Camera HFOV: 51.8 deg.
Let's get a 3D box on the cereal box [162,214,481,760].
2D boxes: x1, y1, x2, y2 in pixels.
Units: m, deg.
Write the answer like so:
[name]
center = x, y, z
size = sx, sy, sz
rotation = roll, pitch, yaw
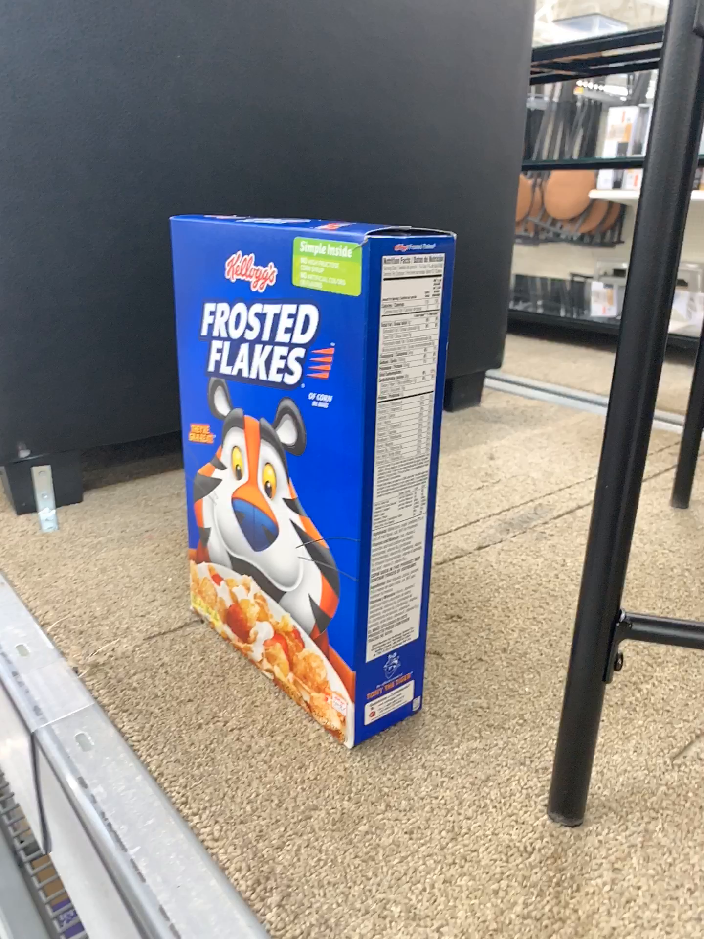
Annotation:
[cereal box]
center = -0.032, -0.007, 0.462
size = 0.070, 0.289, 0.211
rotation = -15, 25, -36
